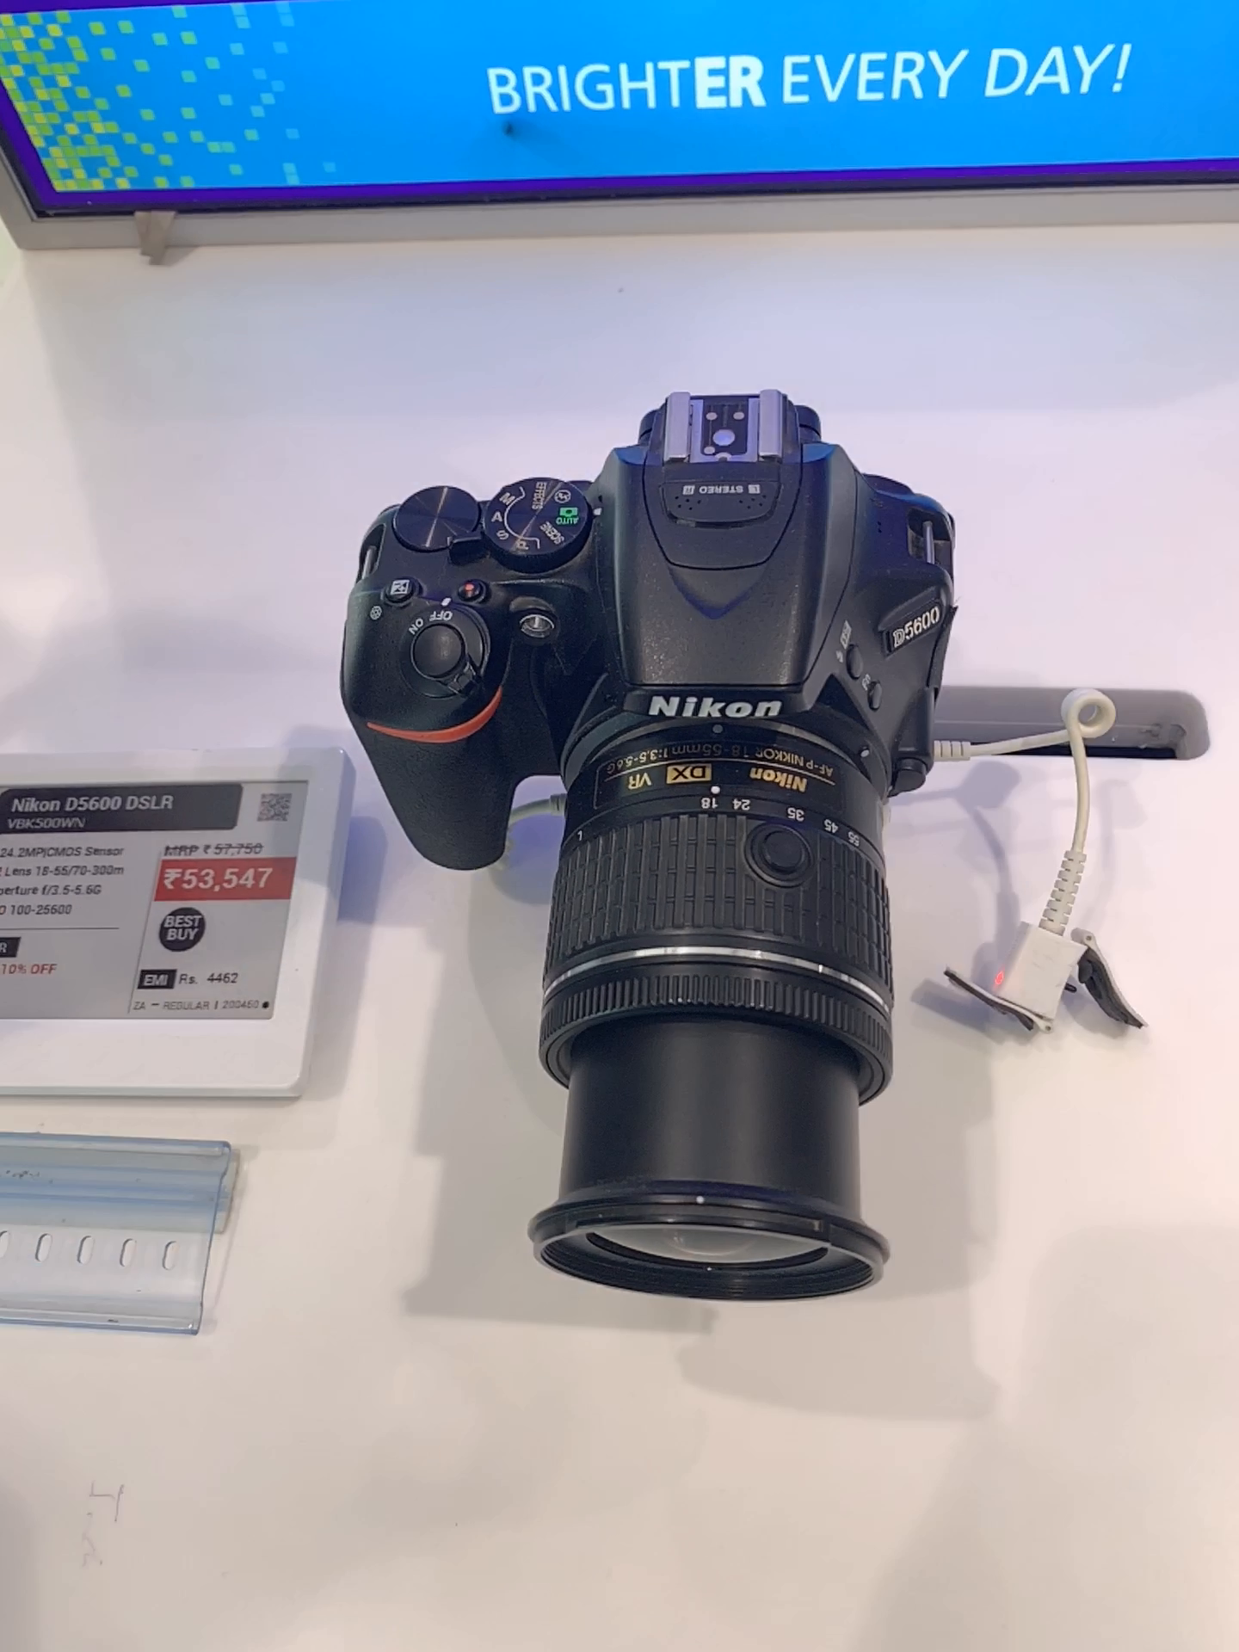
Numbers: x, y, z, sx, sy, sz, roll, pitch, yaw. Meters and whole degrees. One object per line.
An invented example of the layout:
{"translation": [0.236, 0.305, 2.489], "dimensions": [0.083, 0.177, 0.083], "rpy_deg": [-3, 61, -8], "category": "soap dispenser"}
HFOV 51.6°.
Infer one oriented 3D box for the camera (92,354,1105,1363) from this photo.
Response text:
{"translation": [0.003, 0.009, 0.225], "dimensions": [0.116, 0.100, 0.141], "rpy_deg": [-1, 58, 6], "category": "camera"}
